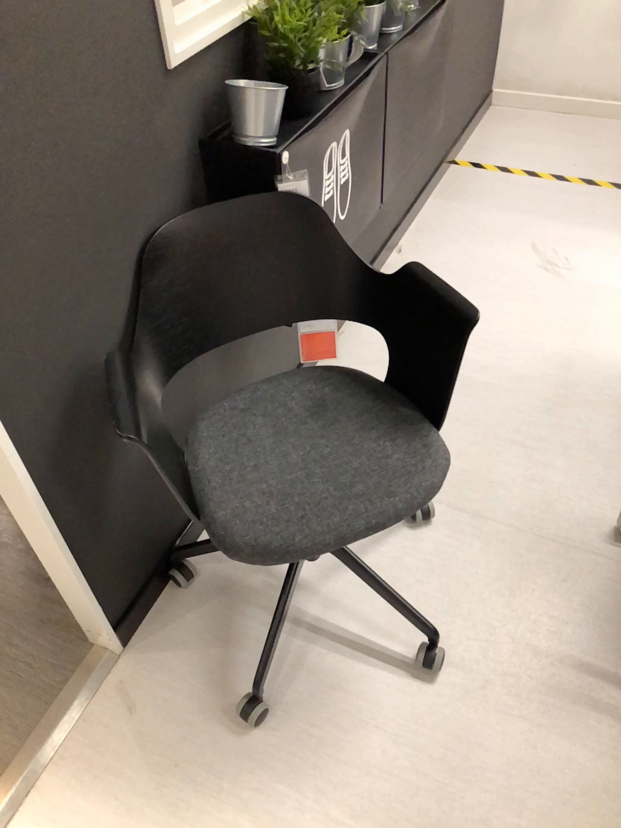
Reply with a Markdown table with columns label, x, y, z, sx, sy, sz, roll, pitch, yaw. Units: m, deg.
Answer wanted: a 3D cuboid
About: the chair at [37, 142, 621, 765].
| label | x | y | z | sx | sy | sz | roll | pitch | yaw |
| --- | --- | --- | --- | --- | --- | --- | --- | --- | --- |
| chair | 0.005 | 0.076 | 1.169 | 0.660 | 0.755 | 0.563 | -15 | 46 | -10 |
